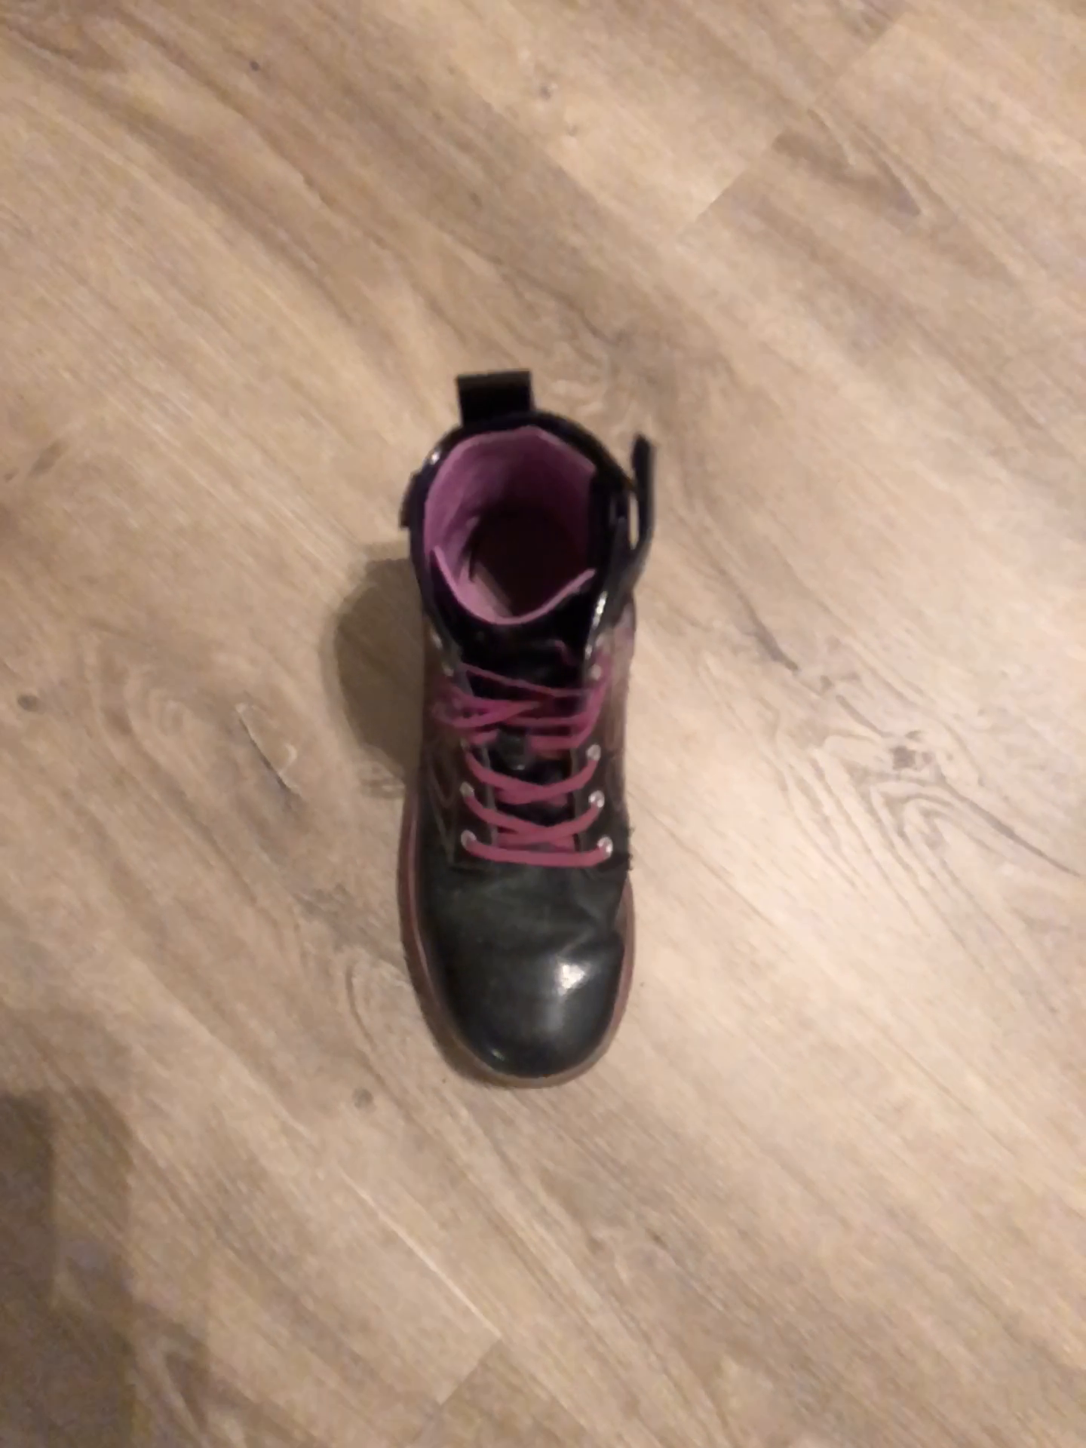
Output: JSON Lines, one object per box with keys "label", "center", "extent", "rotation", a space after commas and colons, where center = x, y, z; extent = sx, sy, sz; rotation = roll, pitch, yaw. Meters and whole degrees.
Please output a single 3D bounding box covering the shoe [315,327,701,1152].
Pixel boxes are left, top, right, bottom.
{"label": "shoe", "center": [-0.008, 0.010, 0.404], "extent": [0.100, 0.150, 0.230], "rotation": [0, 80, 1]}
